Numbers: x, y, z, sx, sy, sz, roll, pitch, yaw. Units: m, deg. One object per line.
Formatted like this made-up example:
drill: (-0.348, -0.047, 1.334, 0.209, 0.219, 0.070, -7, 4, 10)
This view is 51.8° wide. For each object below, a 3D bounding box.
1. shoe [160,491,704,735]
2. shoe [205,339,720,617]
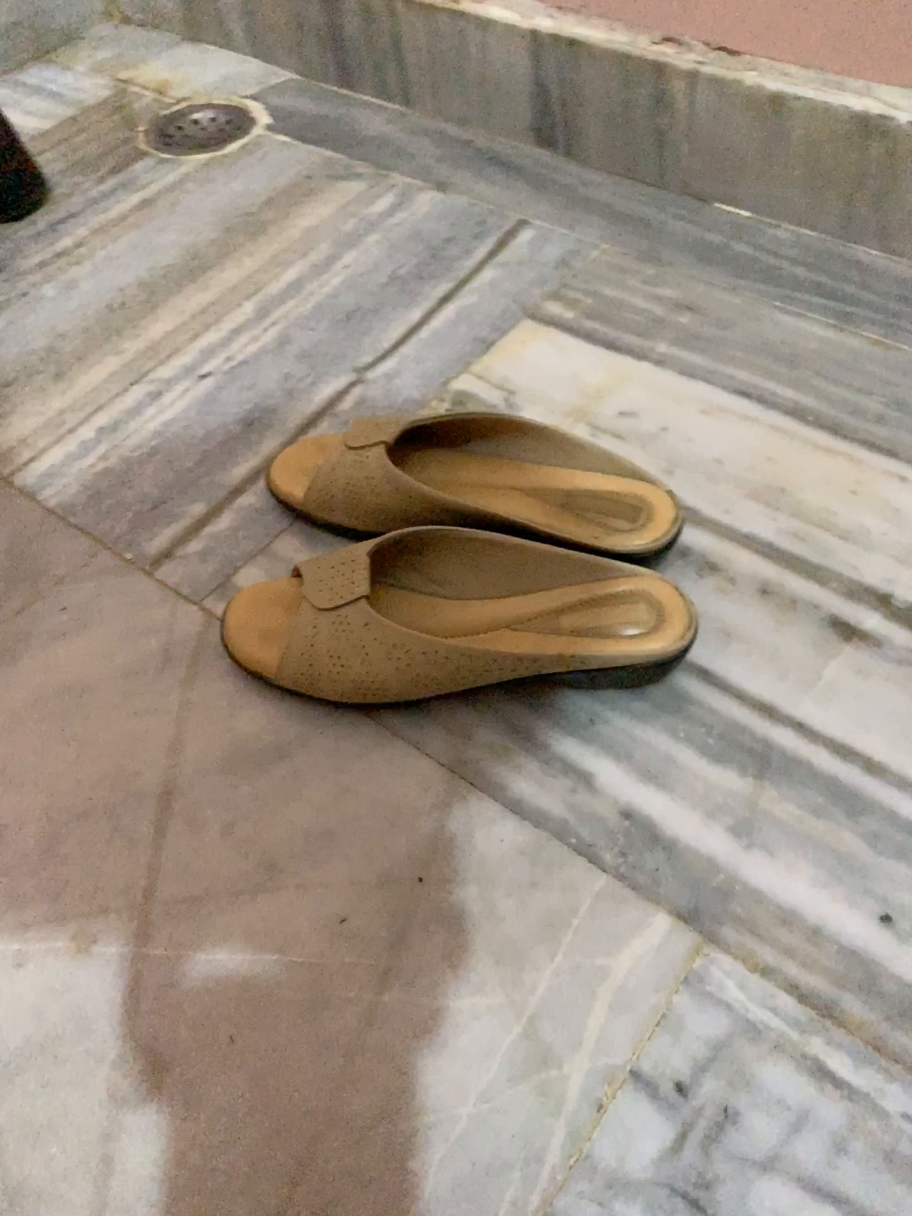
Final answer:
shoe: (-0.009, 0.001, 0.501, 0.260, 0.070, 0.095, 3, 52, 6)
shoe: (0.004, -0.081, 0.556, 0.274, 0.070, 0.095, 12, 54, 13)
